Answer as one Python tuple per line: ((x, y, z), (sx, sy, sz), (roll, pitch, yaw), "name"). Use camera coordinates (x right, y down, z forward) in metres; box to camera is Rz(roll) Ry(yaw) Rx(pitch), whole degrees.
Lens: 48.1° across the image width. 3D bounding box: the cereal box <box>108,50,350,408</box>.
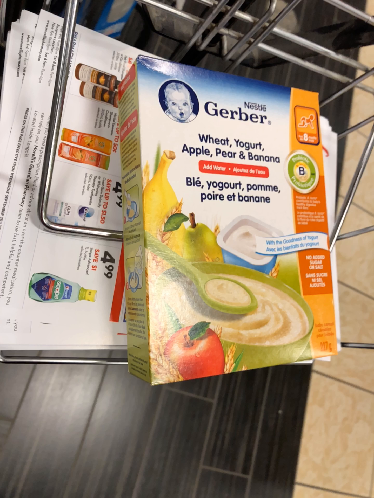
((0.027, -0.011, 0.284), (0.151, 0.050, 0.200), (2, 82, -25), "cereal box")
